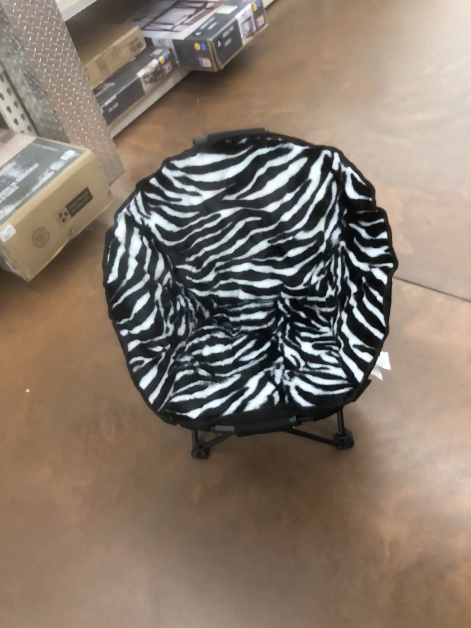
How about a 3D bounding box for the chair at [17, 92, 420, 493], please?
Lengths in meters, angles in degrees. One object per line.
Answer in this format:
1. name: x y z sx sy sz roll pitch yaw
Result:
1. chair: 0.014 -0.021 1.195 0.610 0.598 0.602 -7 49 8
